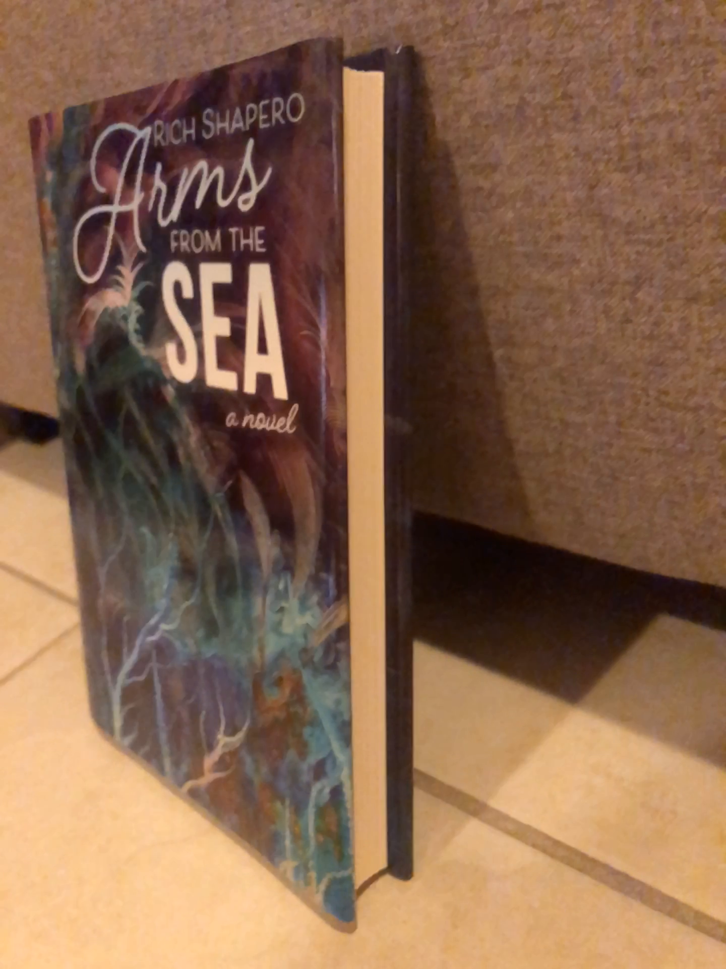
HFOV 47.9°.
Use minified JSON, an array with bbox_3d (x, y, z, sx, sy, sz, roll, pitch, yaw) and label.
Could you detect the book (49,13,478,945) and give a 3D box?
[{"bbox_3d":[-0.039,-0.002,0.258,0.030,0.228,0.157,-14,20,-43],"label":"book"}]
